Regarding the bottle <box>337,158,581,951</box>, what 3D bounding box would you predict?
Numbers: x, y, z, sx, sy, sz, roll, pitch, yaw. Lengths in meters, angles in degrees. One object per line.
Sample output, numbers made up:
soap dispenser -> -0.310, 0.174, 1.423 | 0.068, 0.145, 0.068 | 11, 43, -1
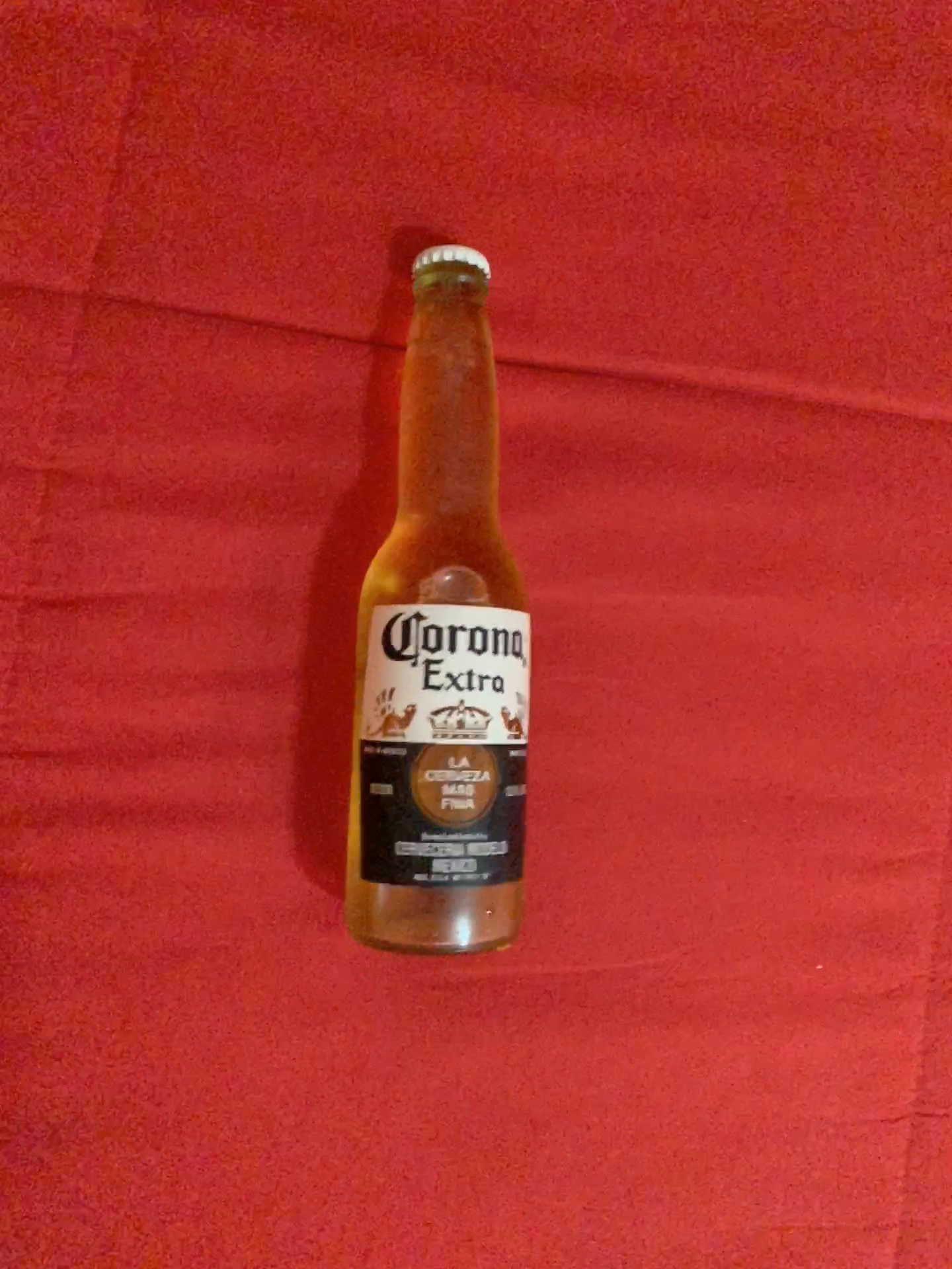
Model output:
bottle -> -0.009, -0.024, 0.347 | 0.070, 0.070, 0.250 | 2, 89, -10
